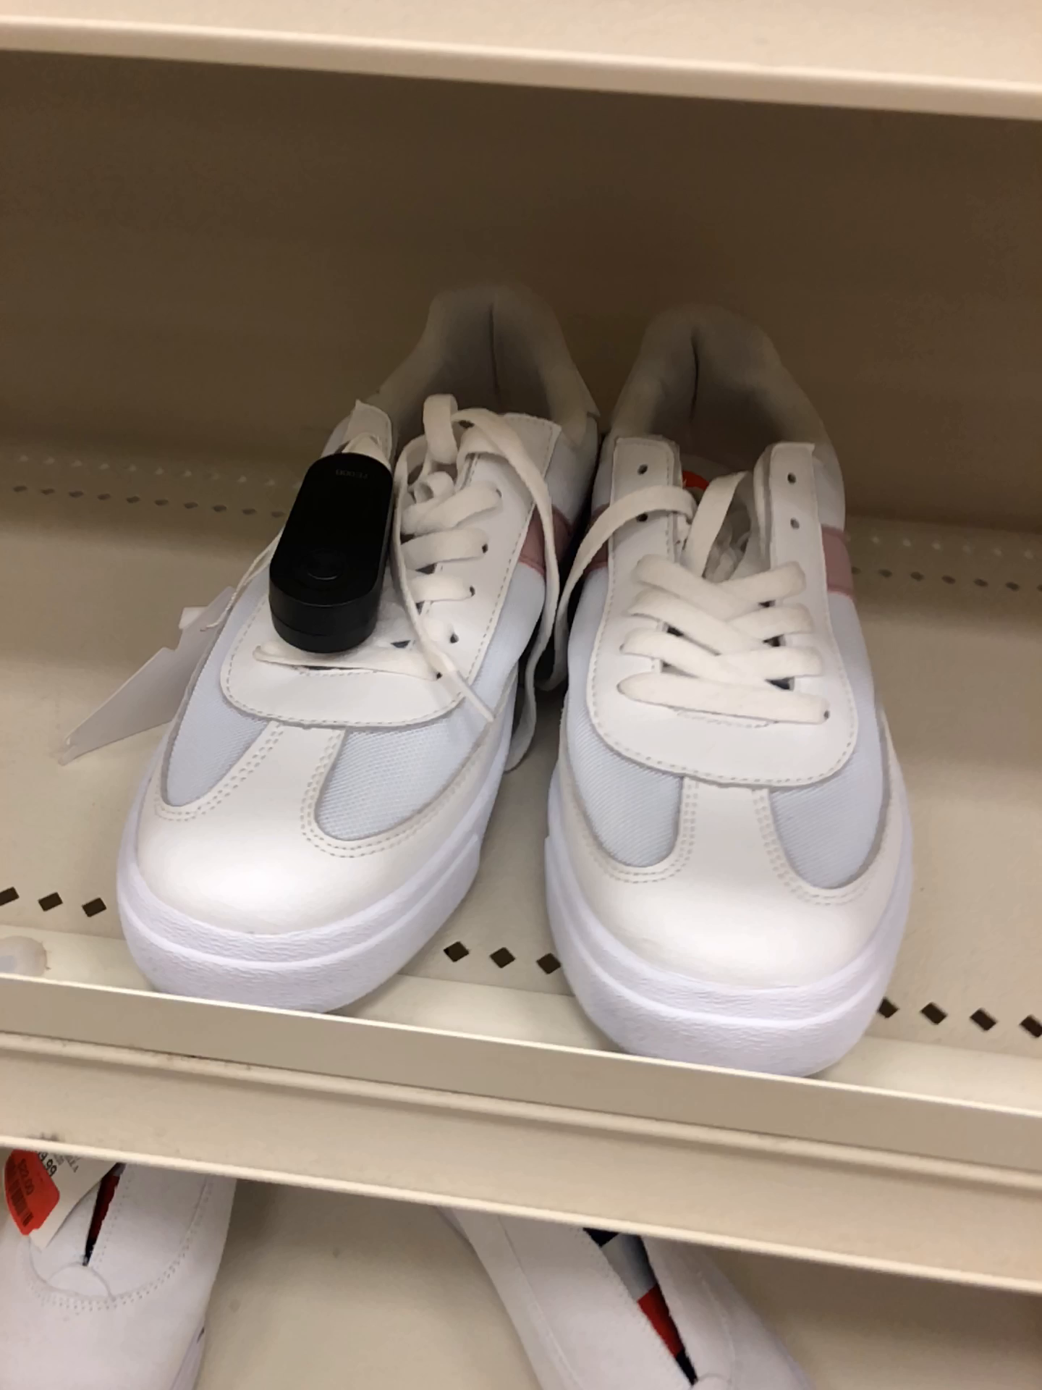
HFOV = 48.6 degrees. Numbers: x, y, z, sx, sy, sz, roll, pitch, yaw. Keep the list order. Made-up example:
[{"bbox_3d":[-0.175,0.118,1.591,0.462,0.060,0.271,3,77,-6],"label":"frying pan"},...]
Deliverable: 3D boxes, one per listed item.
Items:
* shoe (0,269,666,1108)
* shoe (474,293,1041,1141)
[{"bbox_3d":[-0.032,-0.061,0.385,0.120,0.119,0.393,8,25,8],"label":"shoe"},{"bbox_3d":[0.072,-0.050,0.391,0.120,0.119,0.393,5,25,4],"label":"shoe"}]
